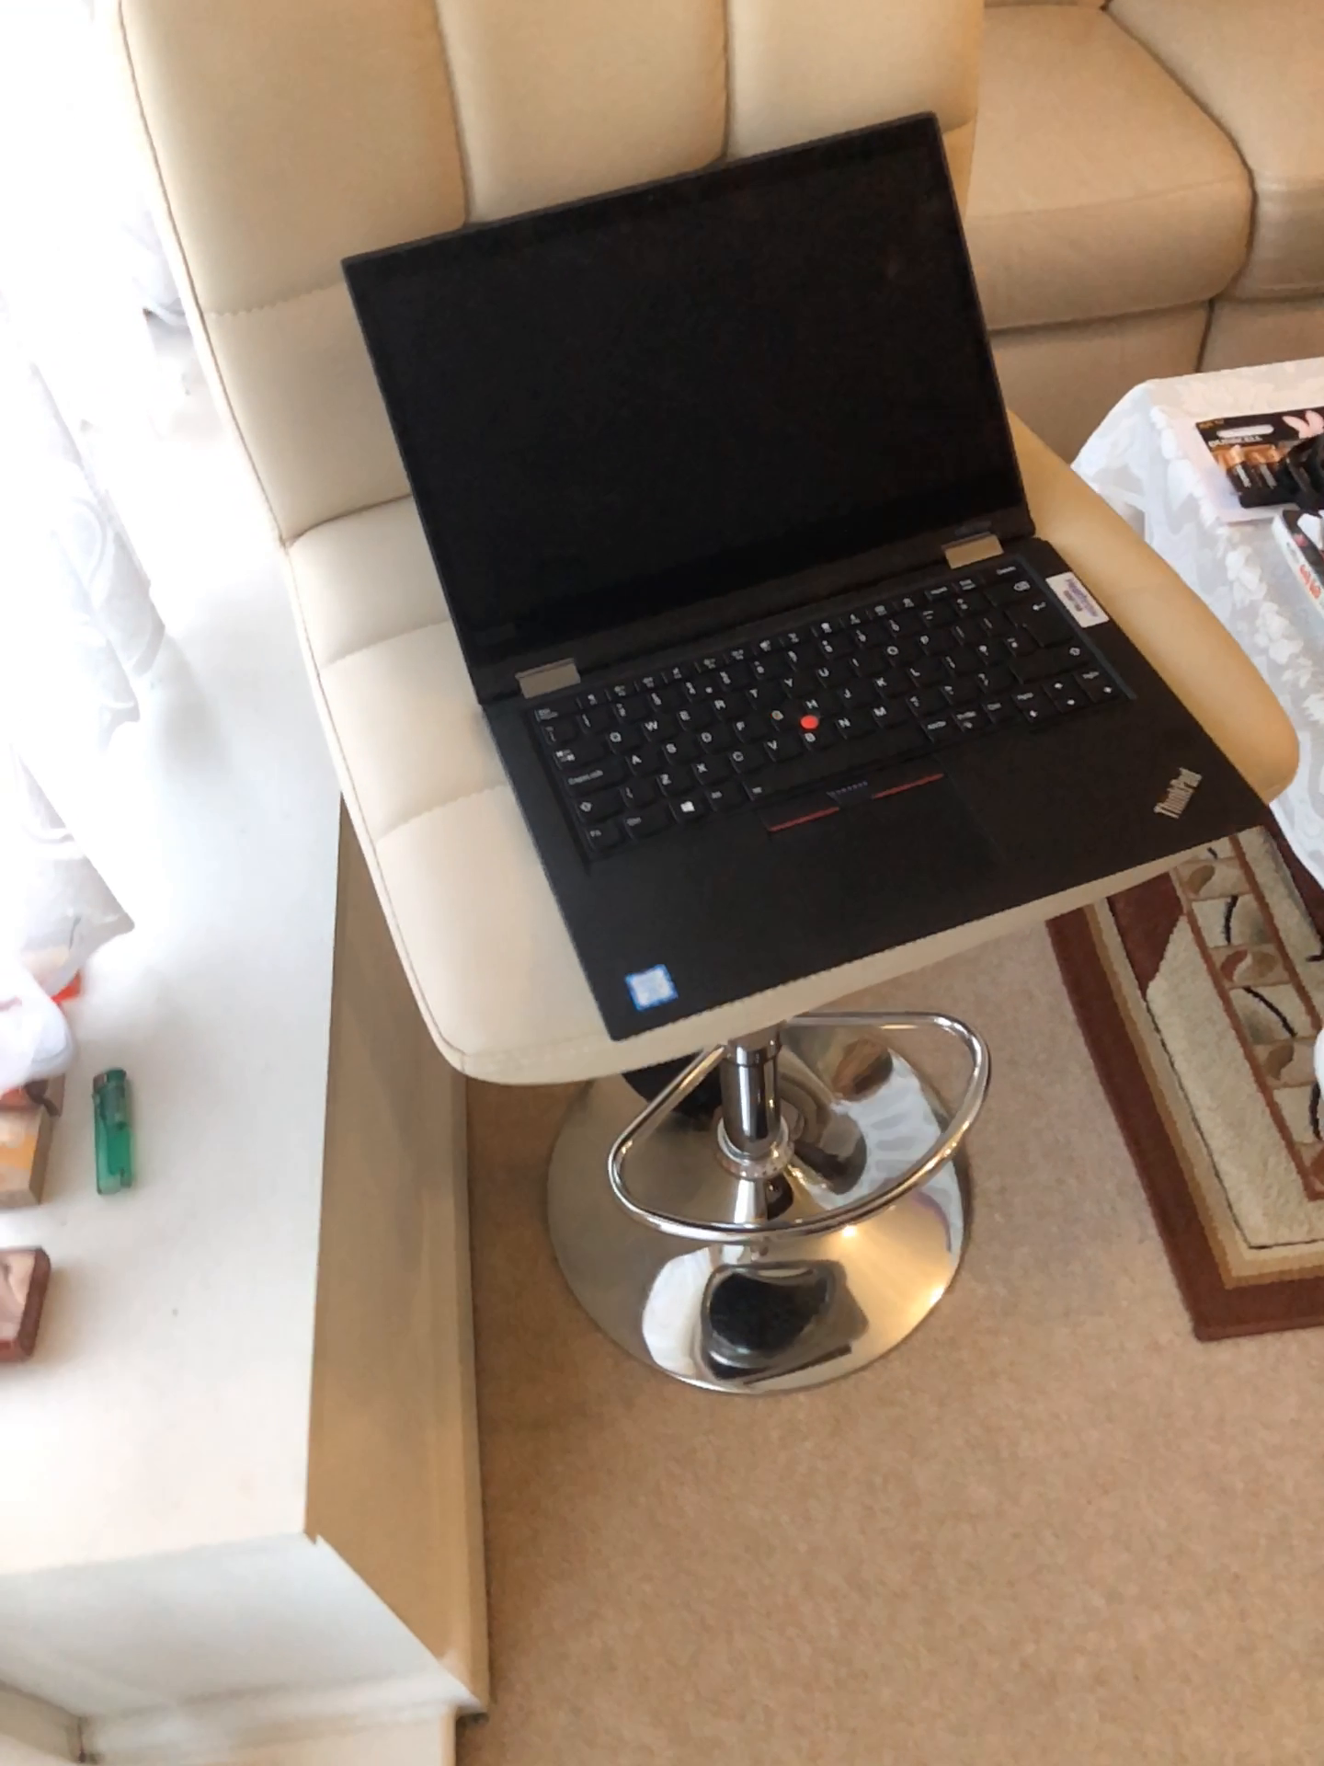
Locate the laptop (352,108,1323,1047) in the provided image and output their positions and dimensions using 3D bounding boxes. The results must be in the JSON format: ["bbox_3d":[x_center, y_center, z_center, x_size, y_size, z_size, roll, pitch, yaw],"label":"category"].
[{"bbox_3d":[0.061,-0.165,0.676,0.308,0.165,0.368,-18,53,-9],"label":"laptop"}]
